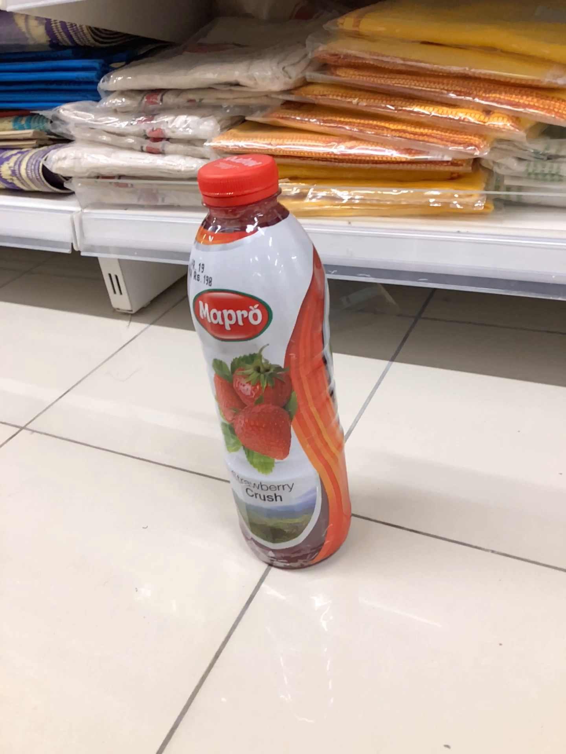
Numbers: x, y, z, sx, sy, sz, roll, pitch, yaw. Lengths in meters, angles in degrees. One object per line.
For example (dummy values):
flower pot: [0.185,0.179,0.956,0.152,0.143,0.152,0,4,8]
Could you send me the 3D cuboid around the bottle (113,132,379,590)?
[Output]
bottle: [-0.005,-0.001,0.363,0.090,0.248,0.081,9,36,25]
